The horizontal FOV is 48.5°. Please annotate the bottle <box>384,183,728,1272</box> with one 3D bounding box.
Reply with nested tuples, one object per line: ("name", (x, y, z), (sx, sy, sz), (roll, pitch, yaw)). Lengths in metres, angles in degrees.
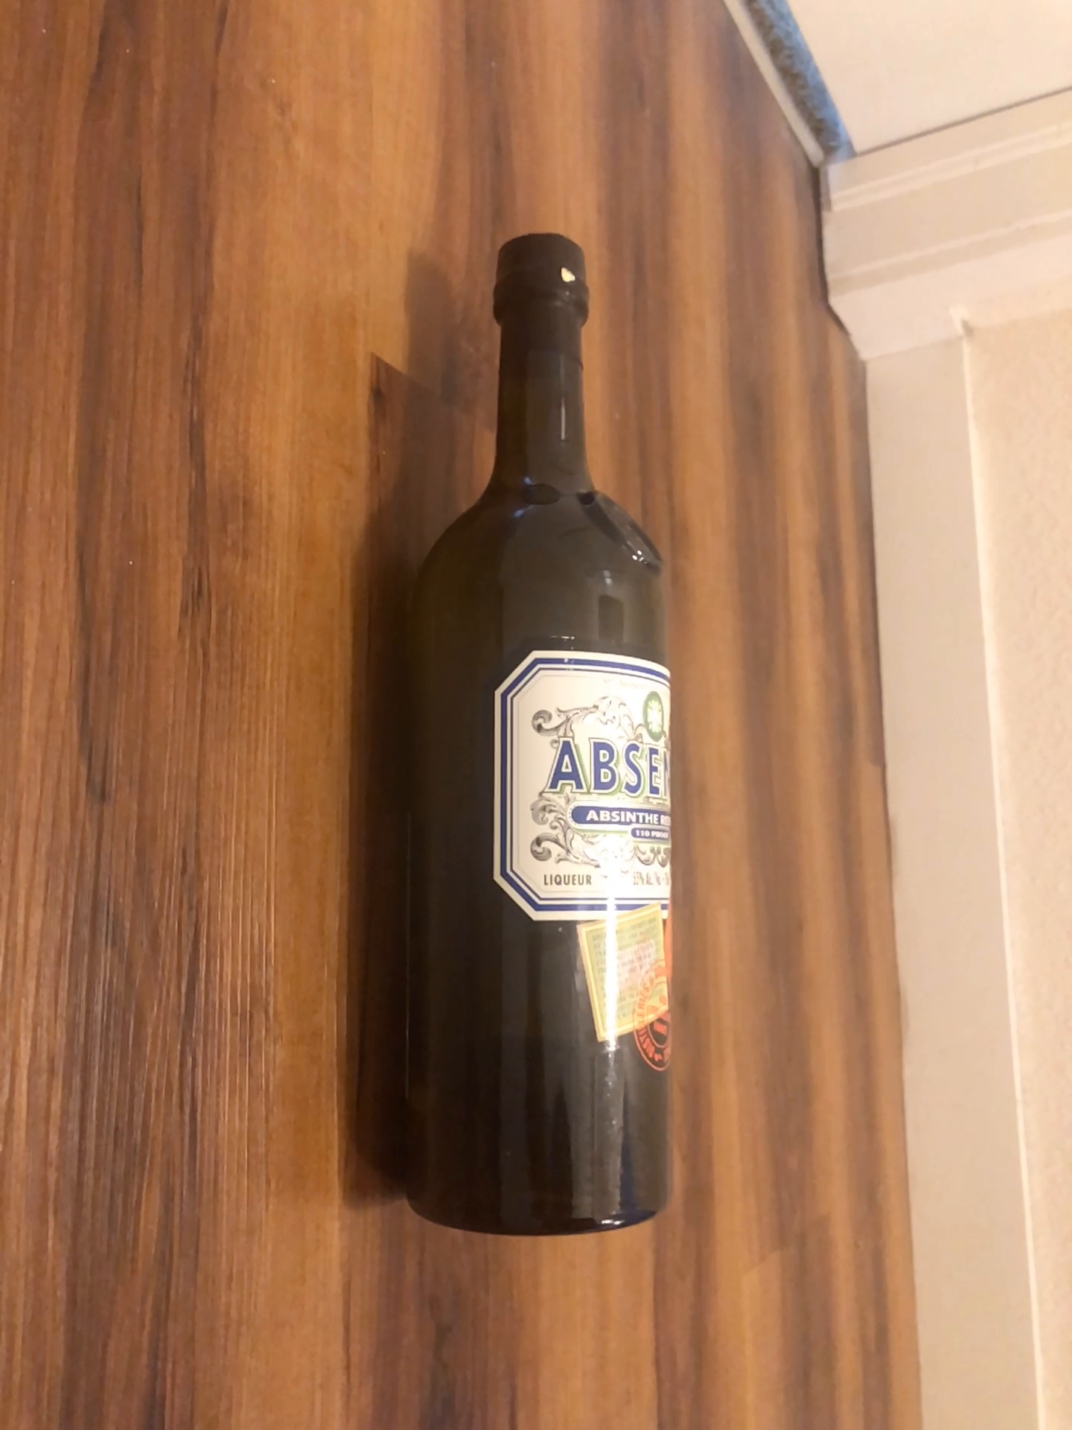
("bottle", (0.007, 0.001, 0.374), (0.081, 0.070, 0.300), (17, 70, -59))
